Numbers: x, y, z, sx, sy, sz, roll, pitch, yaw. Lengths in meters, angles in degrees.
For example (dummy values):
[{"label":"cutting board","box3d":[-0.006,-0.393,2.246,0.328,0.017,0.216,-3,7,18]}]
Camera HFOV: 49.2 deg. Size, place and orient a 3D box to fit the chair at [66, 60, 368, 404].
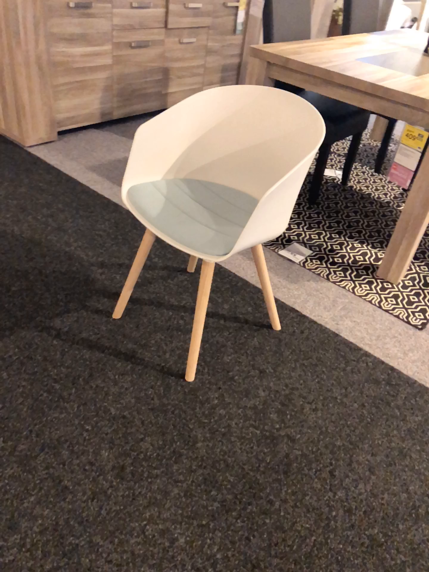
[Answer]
[{"label":"chair","box3d":[-0.024,-0.203,1.453,0.550,0.765,0.584,34,43,30]}]
